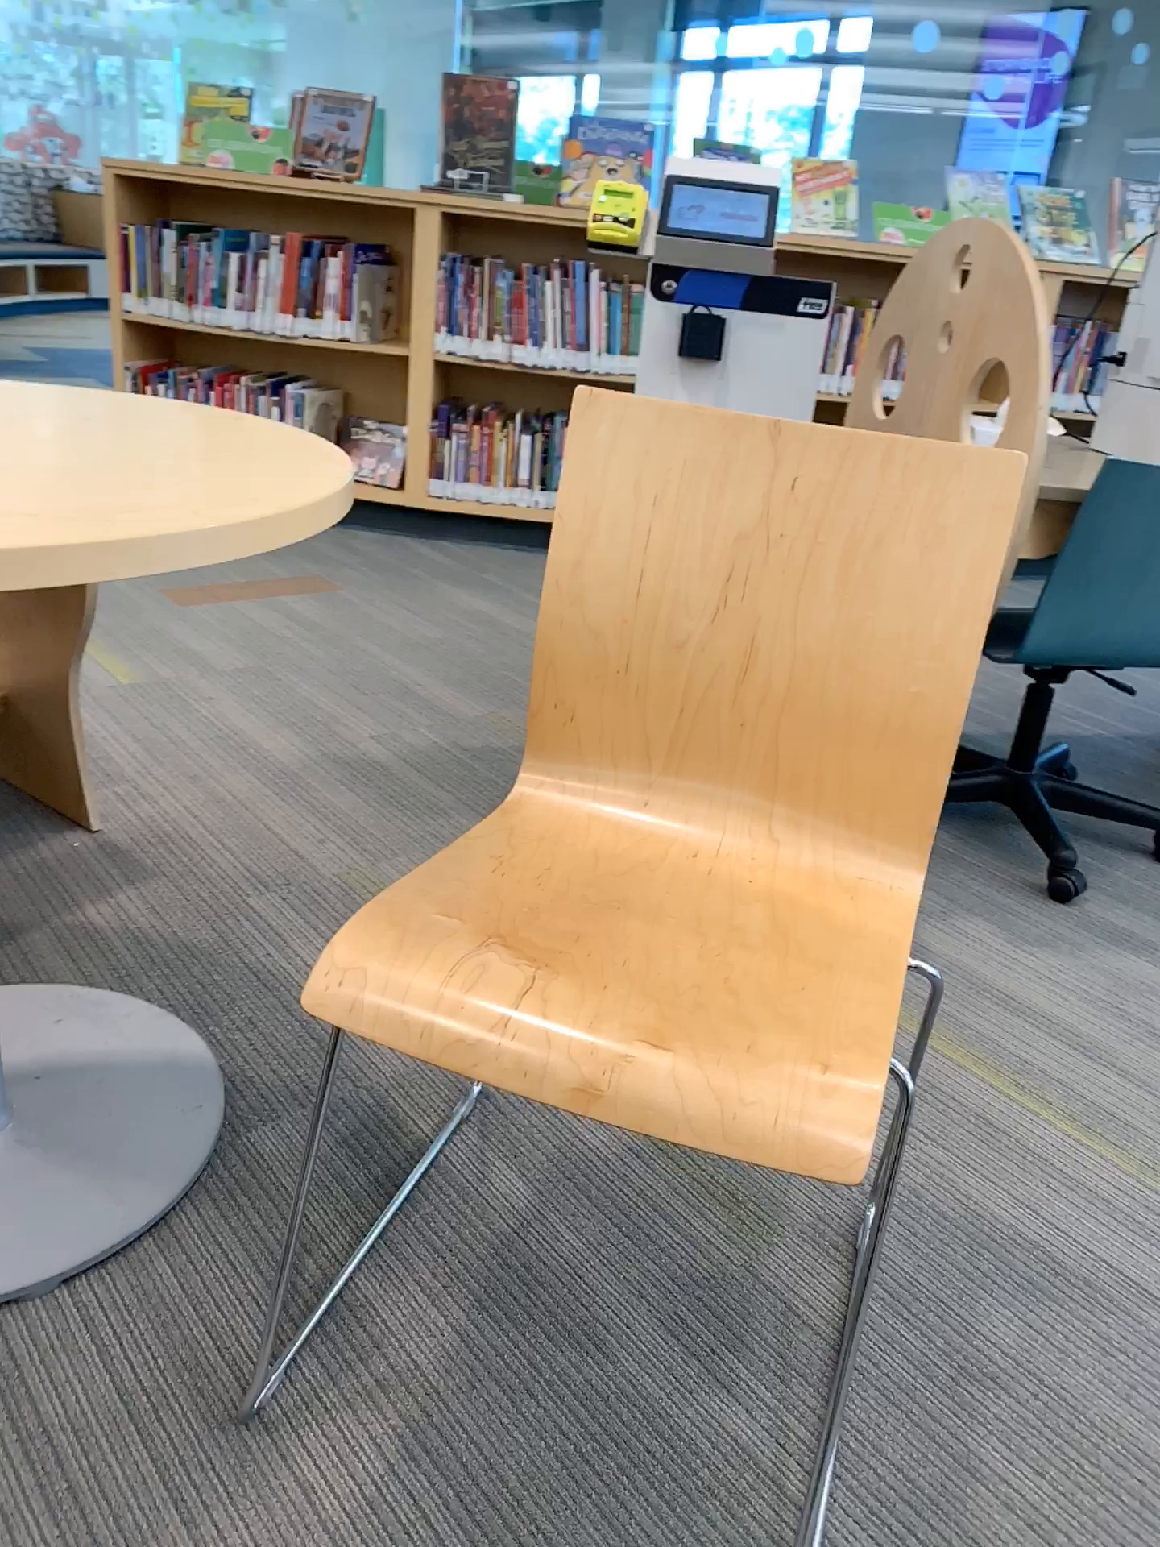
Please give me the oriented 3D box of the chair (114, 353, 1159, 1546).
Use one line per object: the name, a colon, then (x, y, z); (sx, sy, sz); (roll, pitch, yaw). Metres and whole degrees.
chair: (0.060, 0.113, 1.020); (0.560, 0.806, 0.622); (12, 24, 13)
